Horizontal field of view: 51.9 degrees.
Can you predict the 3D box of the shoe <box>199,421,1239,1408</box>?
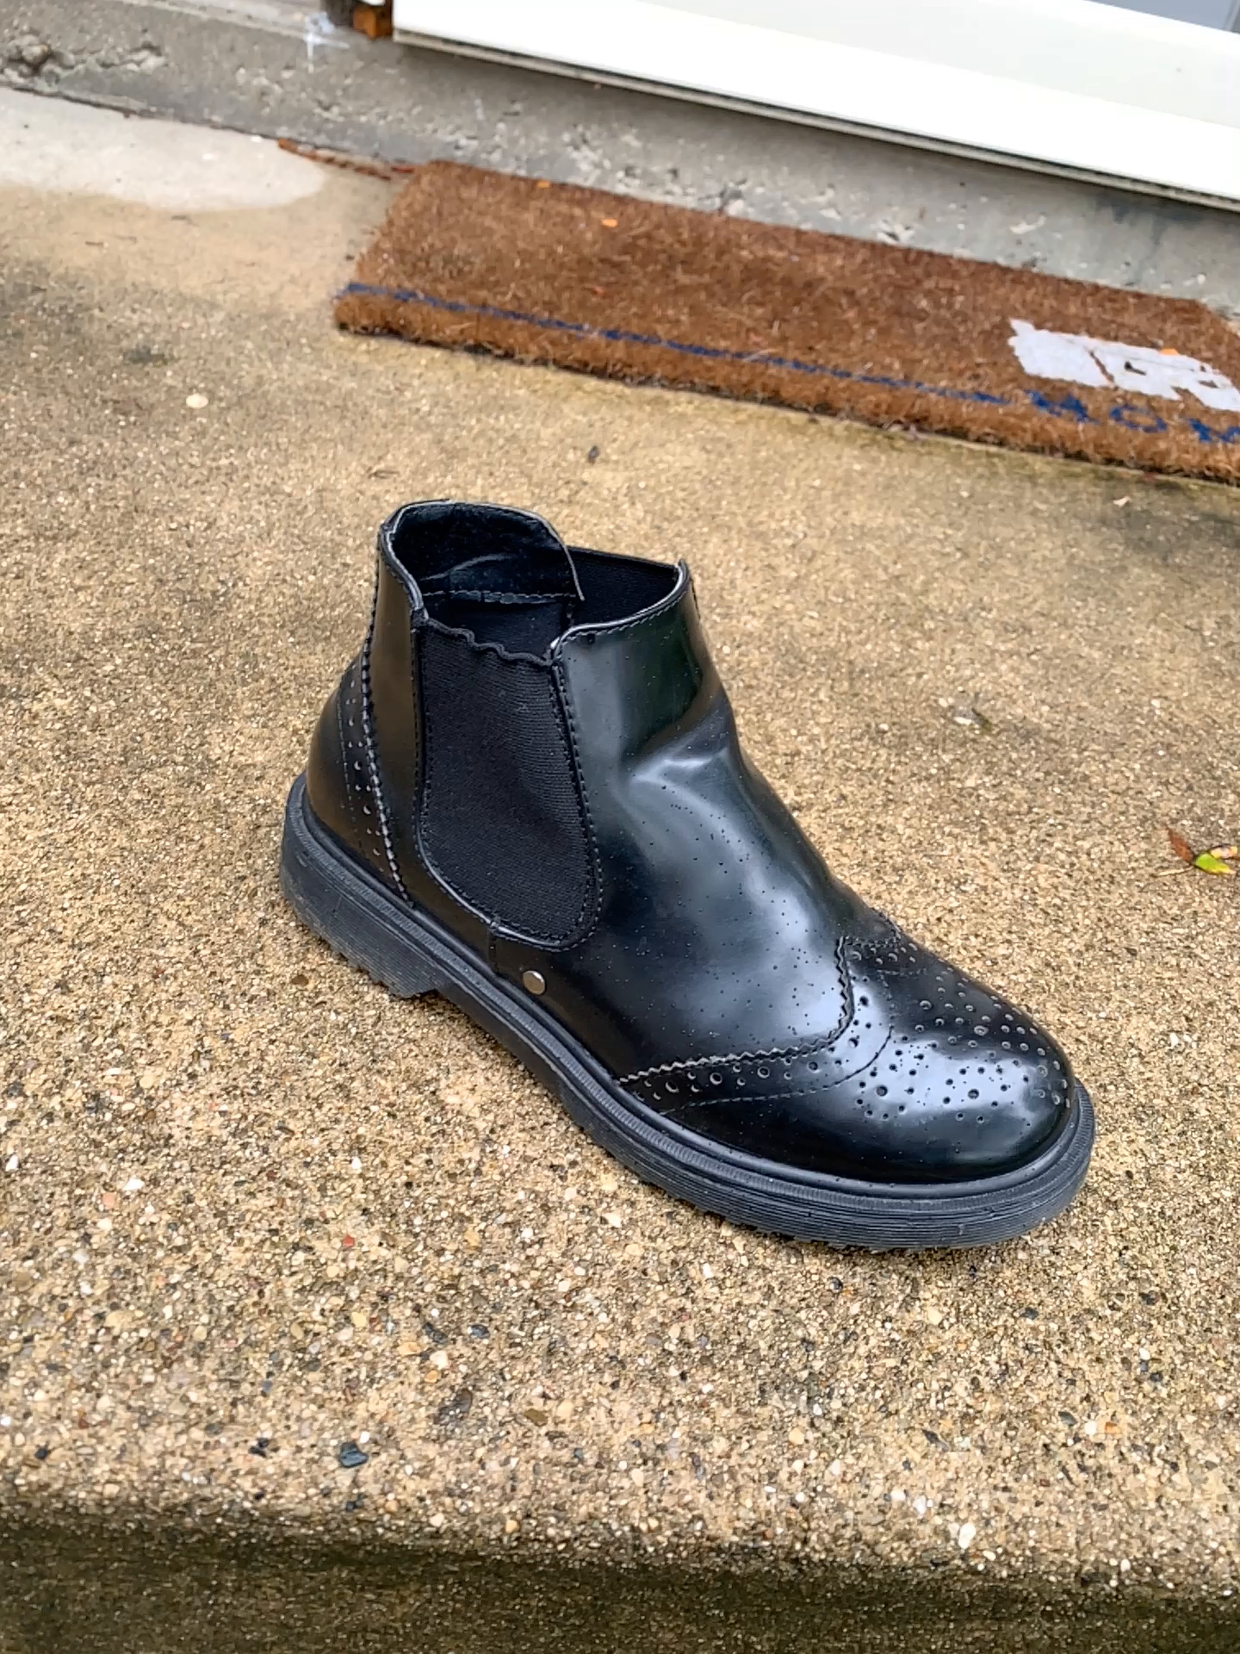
[{"bbox_3d":[0.024,0.011,0.371,0.267,0.148,0.119,25,39,16],"label":"shoe"}]
